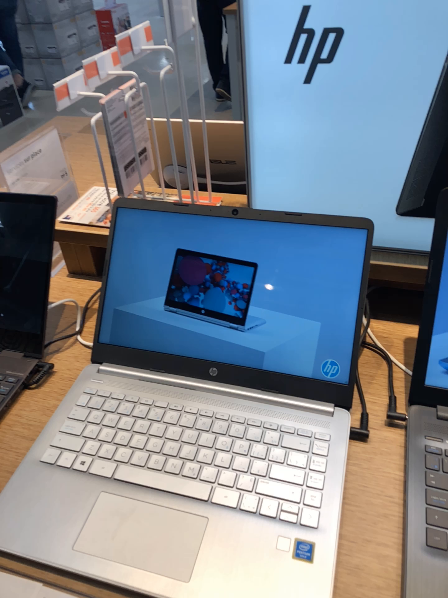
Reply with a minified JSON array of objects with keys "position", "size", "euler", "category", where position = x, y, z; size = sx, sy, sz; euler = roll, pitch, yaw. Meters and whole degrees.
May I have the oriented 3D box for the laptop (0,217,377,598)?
[{"position":[-0.028,0.080,0.492],"size":[0.308,0.167,0.347],"euler":[6,38,18],"category":"laptop"}]
